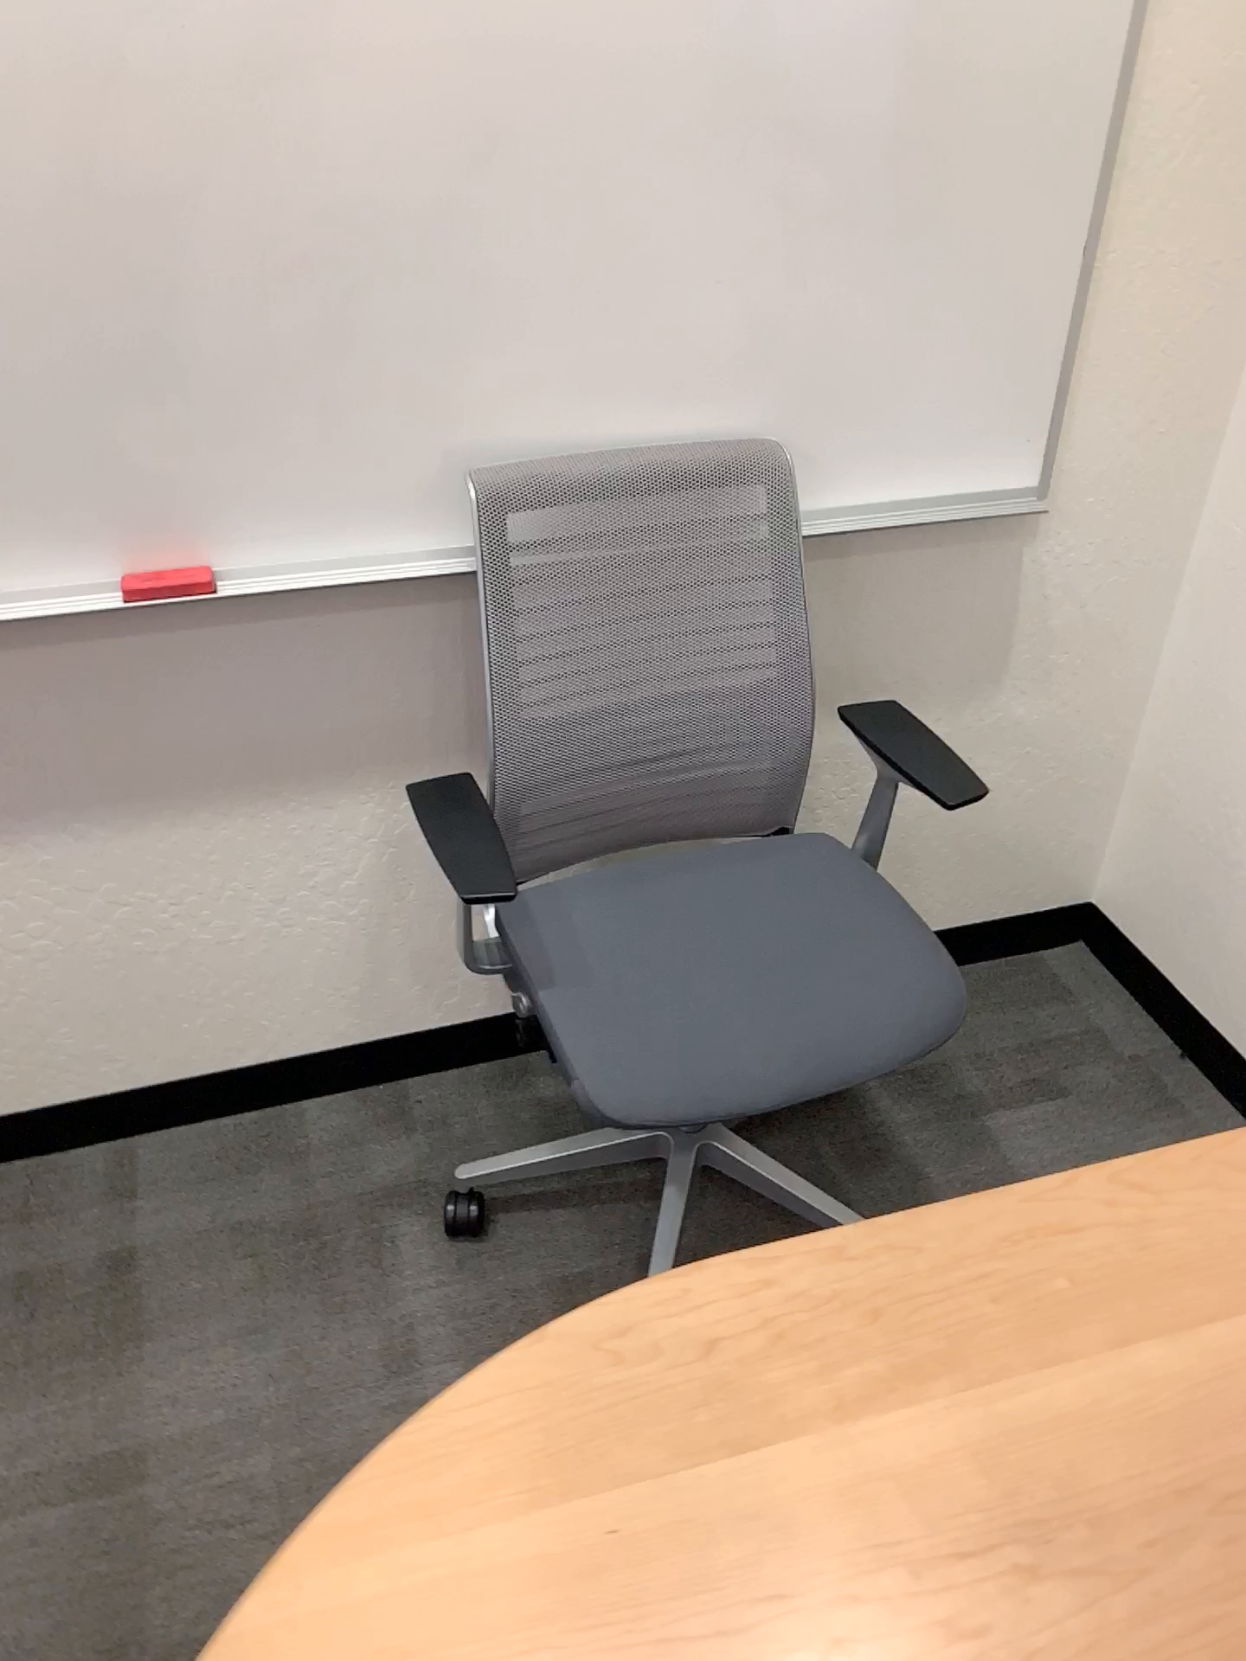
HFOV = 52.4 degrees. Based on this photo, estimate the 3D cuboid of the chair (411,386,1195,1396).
[{"bbox_3d":[0.165,0.064,1.994,0.760,1.262,0.754,-10,34,-18],"label":"chair"}]
